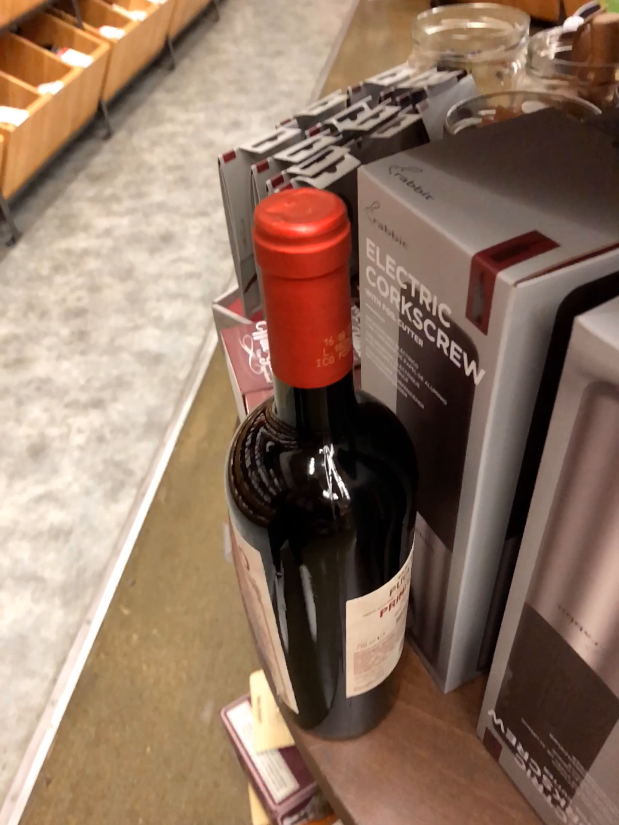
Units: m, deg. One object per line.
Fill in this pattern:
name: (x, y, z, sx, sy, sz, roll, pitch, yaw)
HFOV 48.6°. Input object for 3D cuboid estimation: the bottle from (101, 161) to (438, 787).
bottle: (0.003, 0.056, 0.299, 0.072, 0.299, 0.072, -3, 42, 3)
